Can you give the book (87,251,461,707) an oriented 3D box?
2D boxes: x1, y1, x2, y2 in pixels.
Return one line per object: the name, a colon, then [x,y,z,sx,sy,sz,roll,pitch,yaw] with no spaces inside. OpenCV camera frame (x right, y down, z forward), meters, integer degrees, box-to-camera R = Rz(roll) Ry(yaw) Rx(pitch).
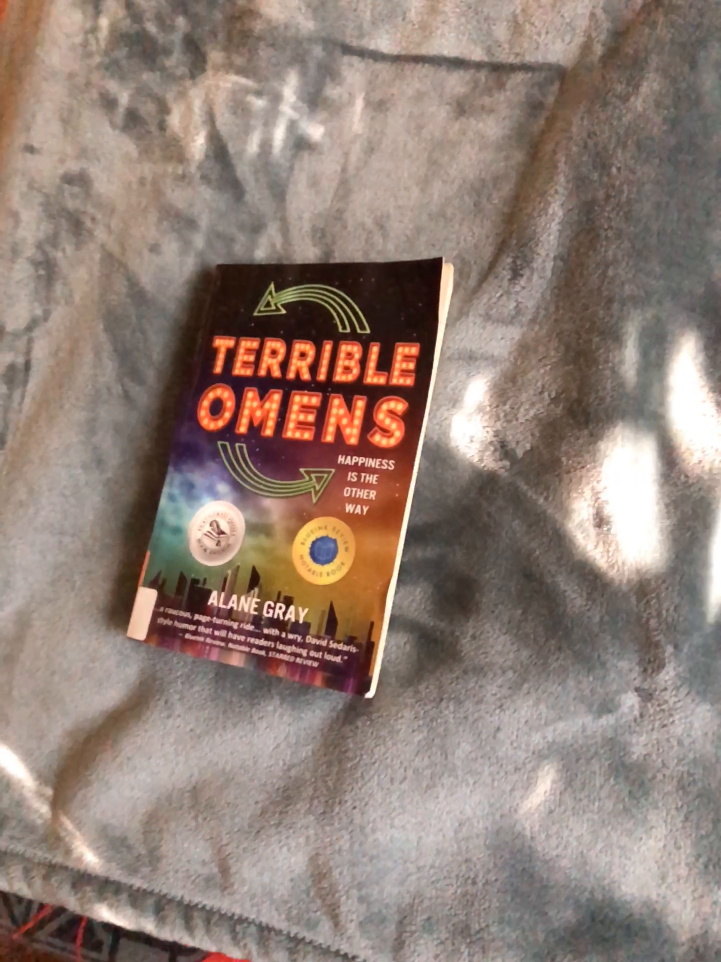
book: [-0.040,-0.010,0.378,0.140,0.028,0.200,7,79,23]
